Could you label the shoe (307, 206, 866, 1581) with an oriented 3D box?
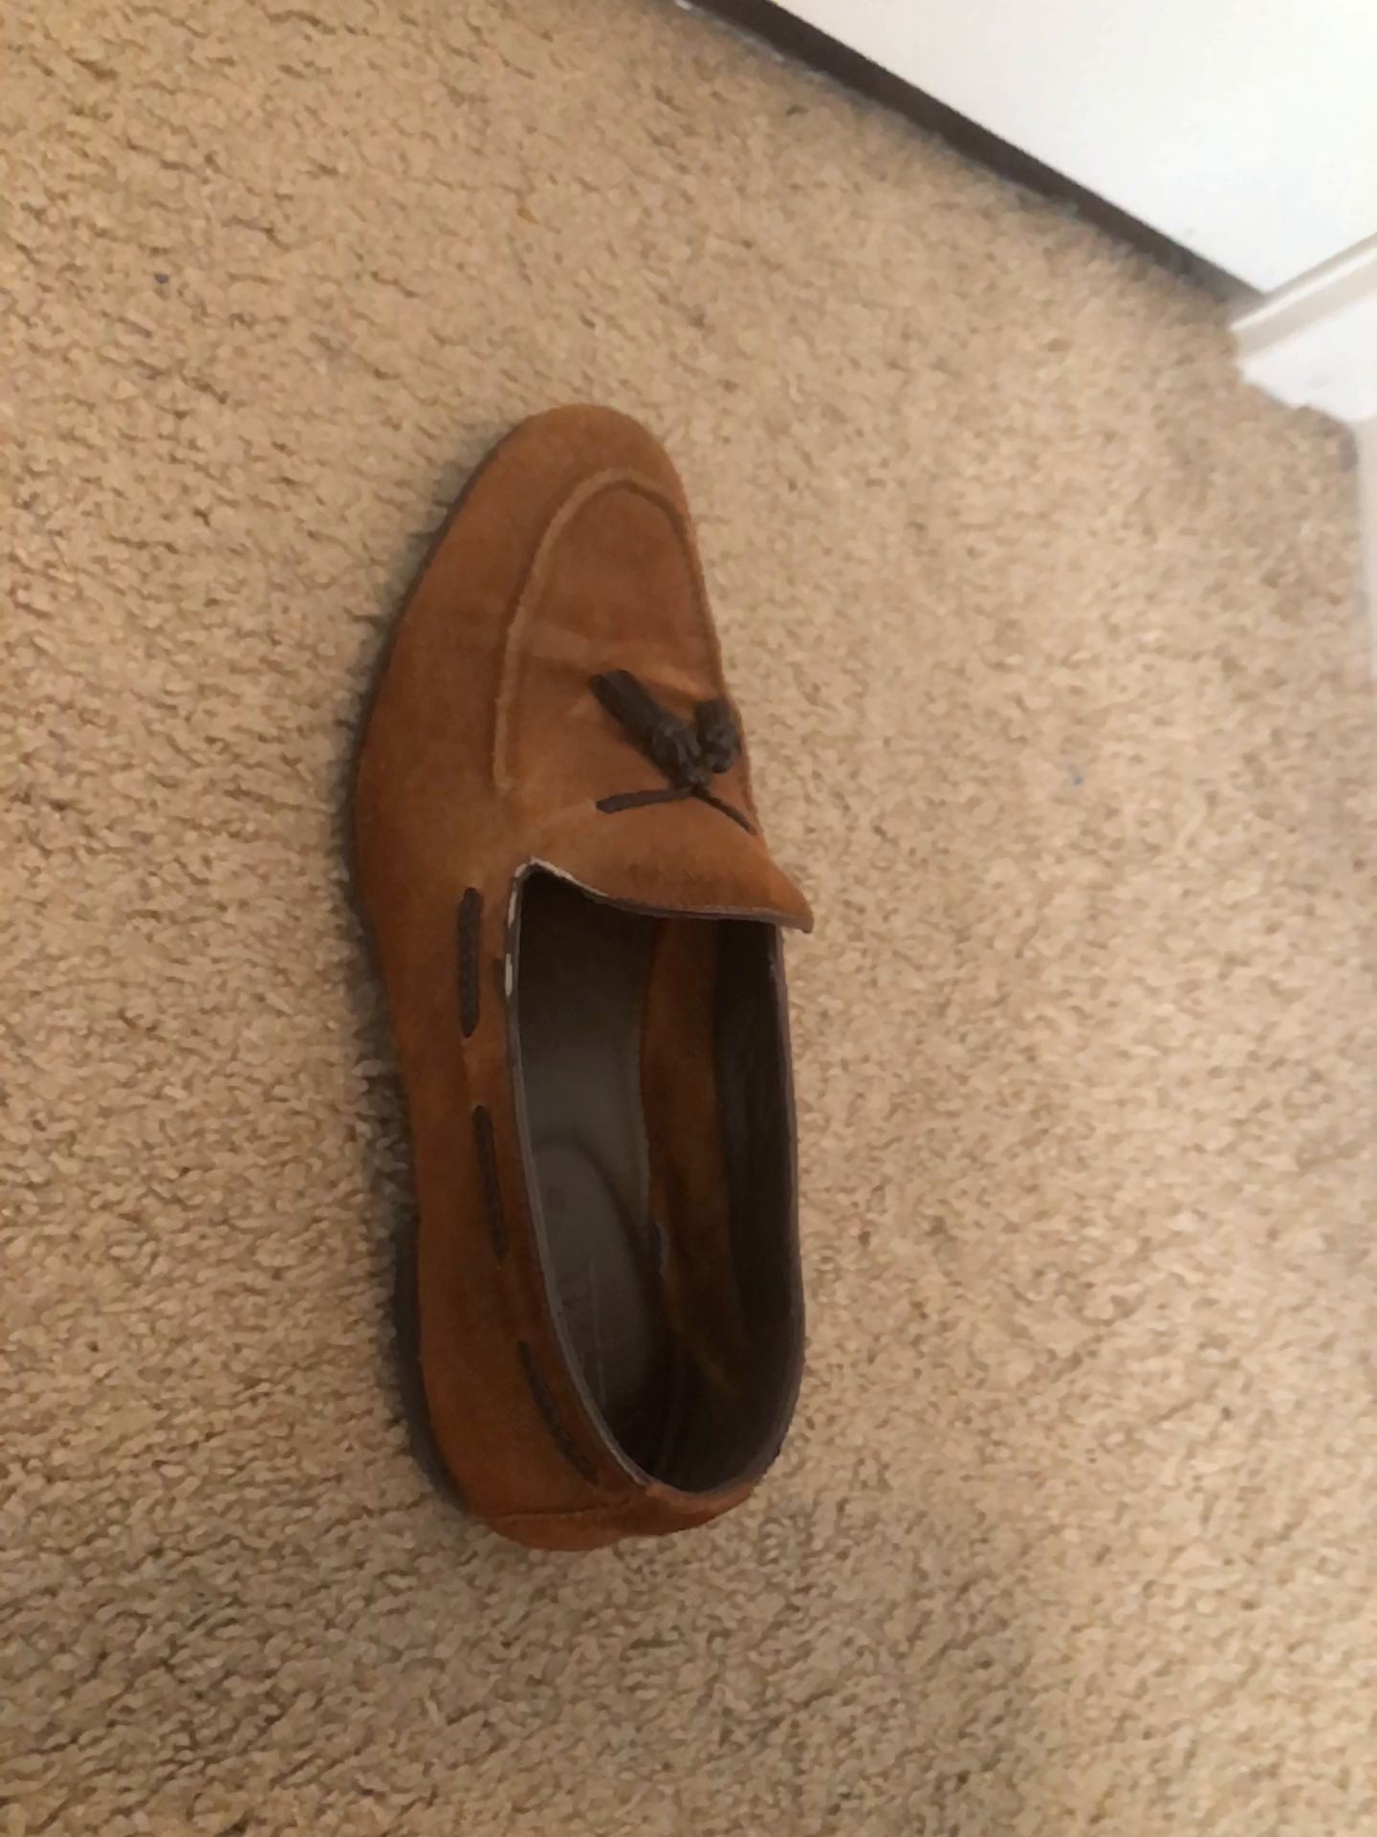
[{"bbox_3d":[-0.027,-0.005,0.385,0.091,0.099,0.292,8,76,-36],"label":"shoe"}]
